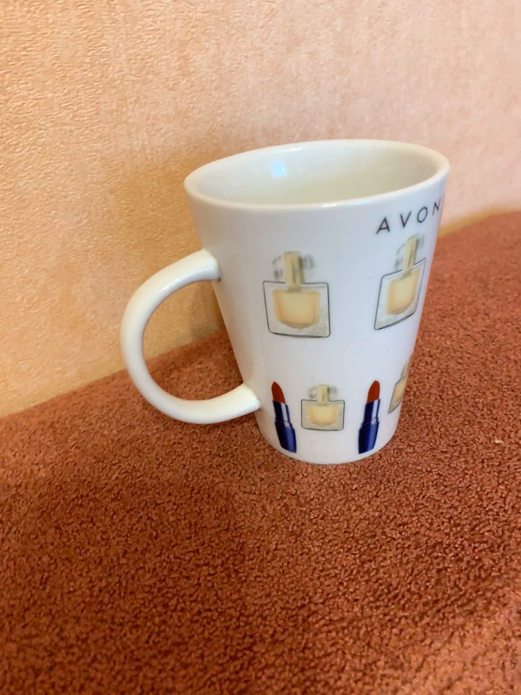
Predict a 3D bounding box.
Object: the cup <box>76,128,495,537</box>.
[{"bbox_3d":[0.007,-0.013,0.186,0.103,0.093,0.071,-18,35,-20],"label":"cup"}]
